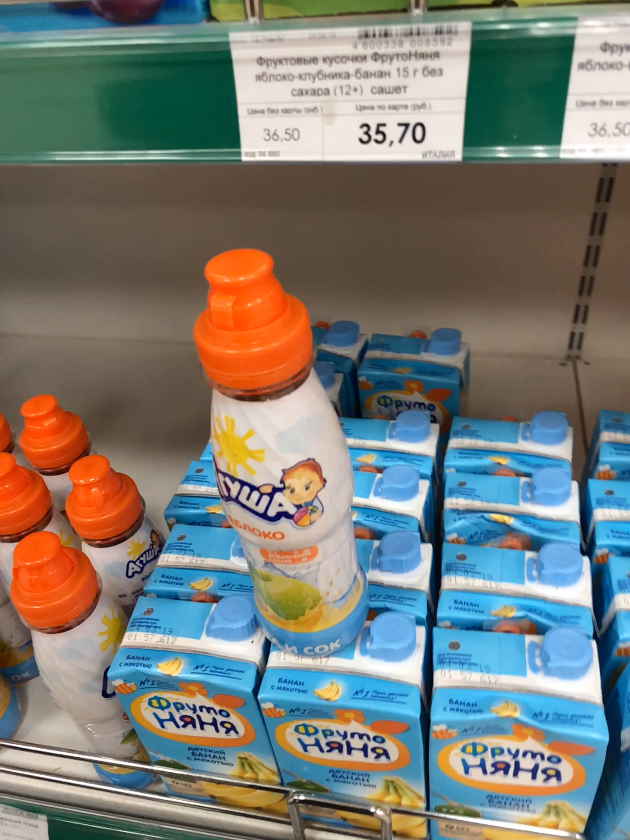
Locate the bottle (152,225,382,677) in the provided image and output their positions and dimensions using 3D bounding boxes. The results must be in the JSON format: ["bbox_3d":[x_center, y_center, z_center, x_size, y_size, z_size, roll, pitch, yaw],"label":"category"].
[{"bbox_3d":[-0.009,0.024,0.289,0.056,0.193,0.053,-3,40,3],"label":"bottle"}]
